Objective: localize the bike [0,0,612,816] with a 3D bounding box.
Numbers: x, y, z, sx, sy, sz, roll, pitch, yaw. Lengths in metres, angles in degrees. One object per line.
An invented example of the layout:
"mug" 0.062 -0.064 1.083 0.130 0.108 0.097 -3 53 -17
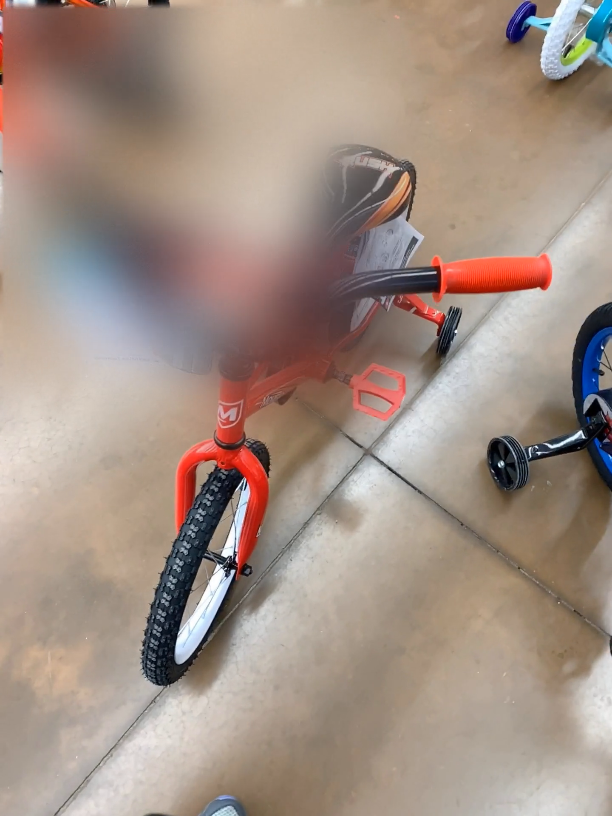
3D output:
"bike" 0.039 -0.132 0.985 0.515 0.955 1.144 21 60 9
